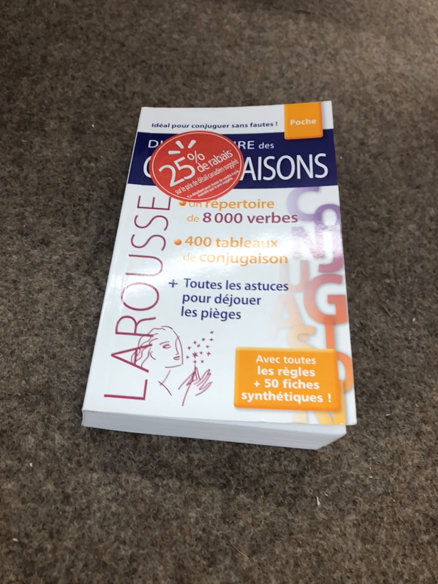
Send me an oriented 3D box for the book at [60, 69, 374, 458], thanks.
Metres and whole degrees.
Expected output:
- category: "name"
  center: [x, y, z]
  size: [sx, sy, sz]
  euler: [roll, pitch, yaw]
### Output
- category: "book"
  center: [0.003, -0.023, 0.267]
  size: [0.124, 0.059, 0.200]
  euler: [6, 60, -4]
